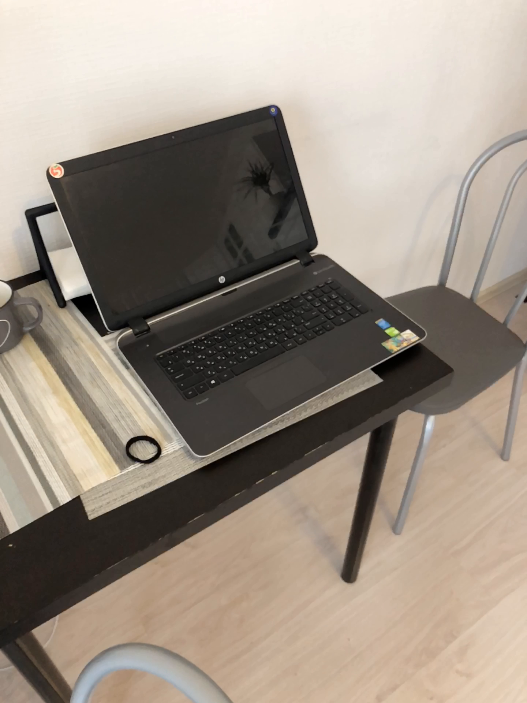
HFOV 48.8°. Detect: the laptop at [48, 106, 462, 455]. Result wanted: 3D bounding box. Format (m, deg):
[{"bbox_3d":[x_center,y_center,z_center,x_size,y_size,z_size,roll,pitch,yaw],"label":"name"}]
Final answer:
[{"bbox_3d":[-0.026,-0.146,0.888,0.416,0.227,0.414,-25,49,-24],"label":"laptop"}]
